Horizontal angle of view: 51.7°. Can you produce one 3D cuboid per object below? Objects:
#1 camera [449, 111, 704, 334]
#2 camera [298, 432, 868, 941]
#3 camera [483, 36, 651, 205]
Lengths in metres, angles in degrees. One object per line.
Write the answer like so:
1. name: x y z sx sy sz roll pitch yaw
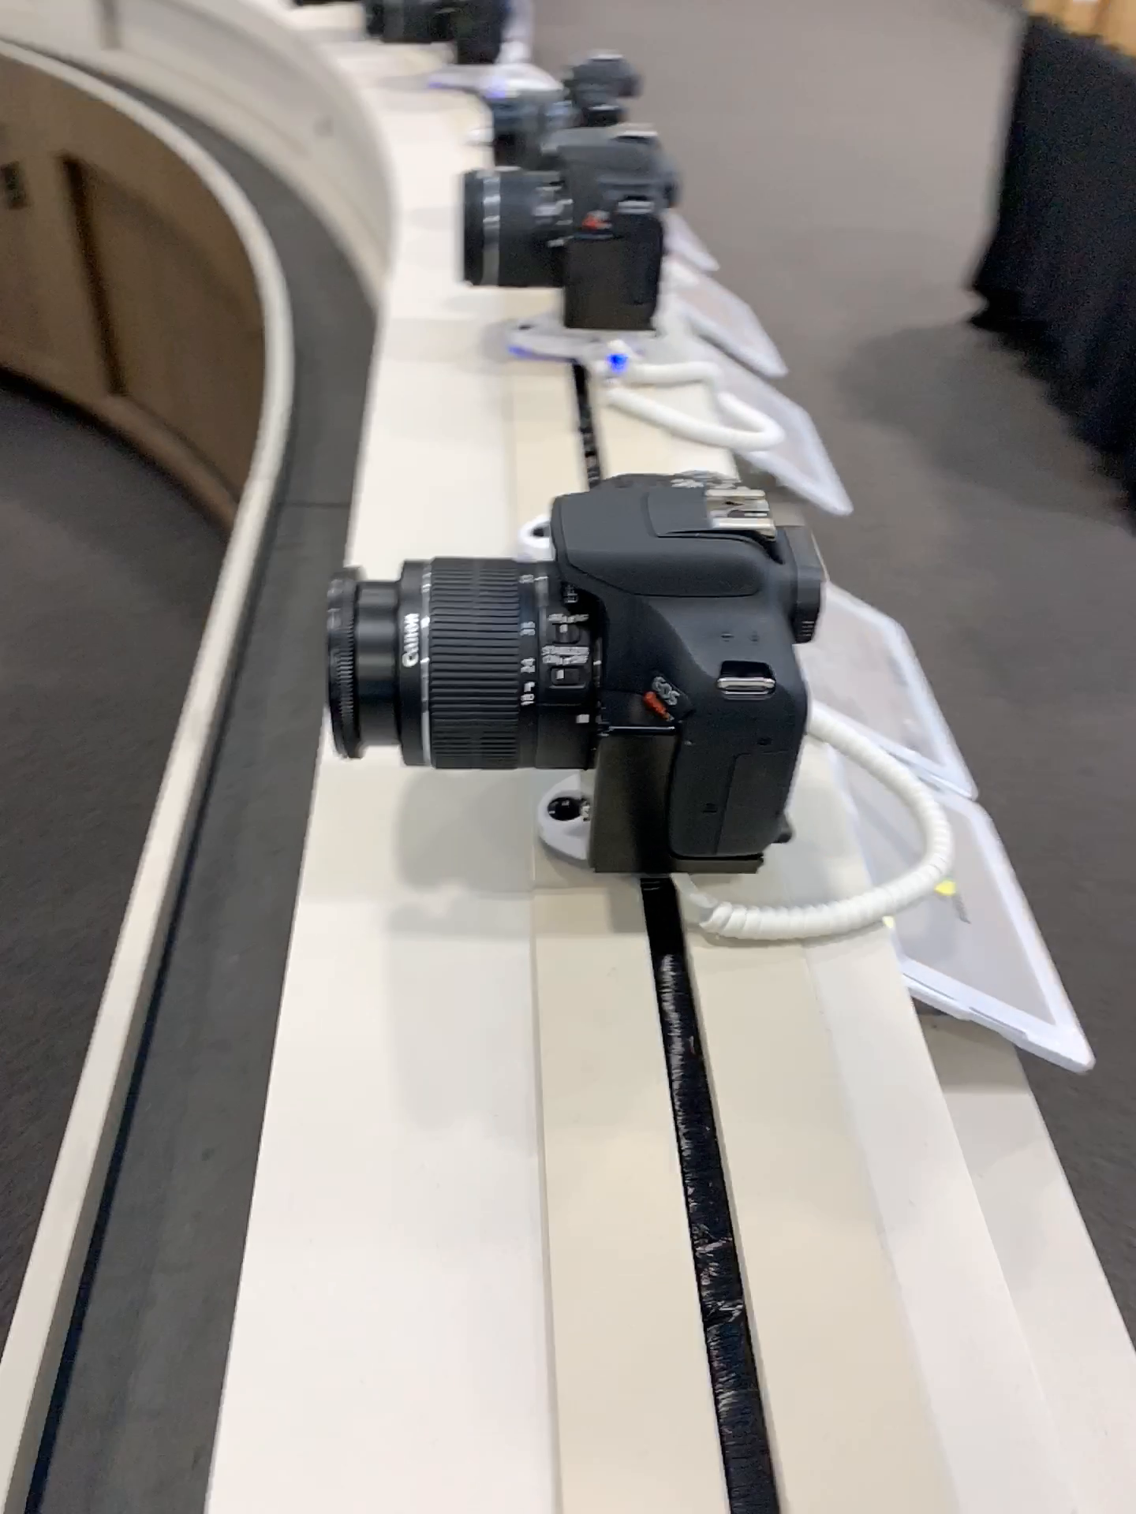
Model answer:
1. camera: -0.001 -0.329 0.719 0.135 0.089 0.122 -3 43 -7
2. camera: 0.000 -0.026 0.382 0.145 0.101 0.135 0 42 -3
3. camera: -0.005 -0.487 0.896 0.111 0.088 0.113 -3 43 -7
